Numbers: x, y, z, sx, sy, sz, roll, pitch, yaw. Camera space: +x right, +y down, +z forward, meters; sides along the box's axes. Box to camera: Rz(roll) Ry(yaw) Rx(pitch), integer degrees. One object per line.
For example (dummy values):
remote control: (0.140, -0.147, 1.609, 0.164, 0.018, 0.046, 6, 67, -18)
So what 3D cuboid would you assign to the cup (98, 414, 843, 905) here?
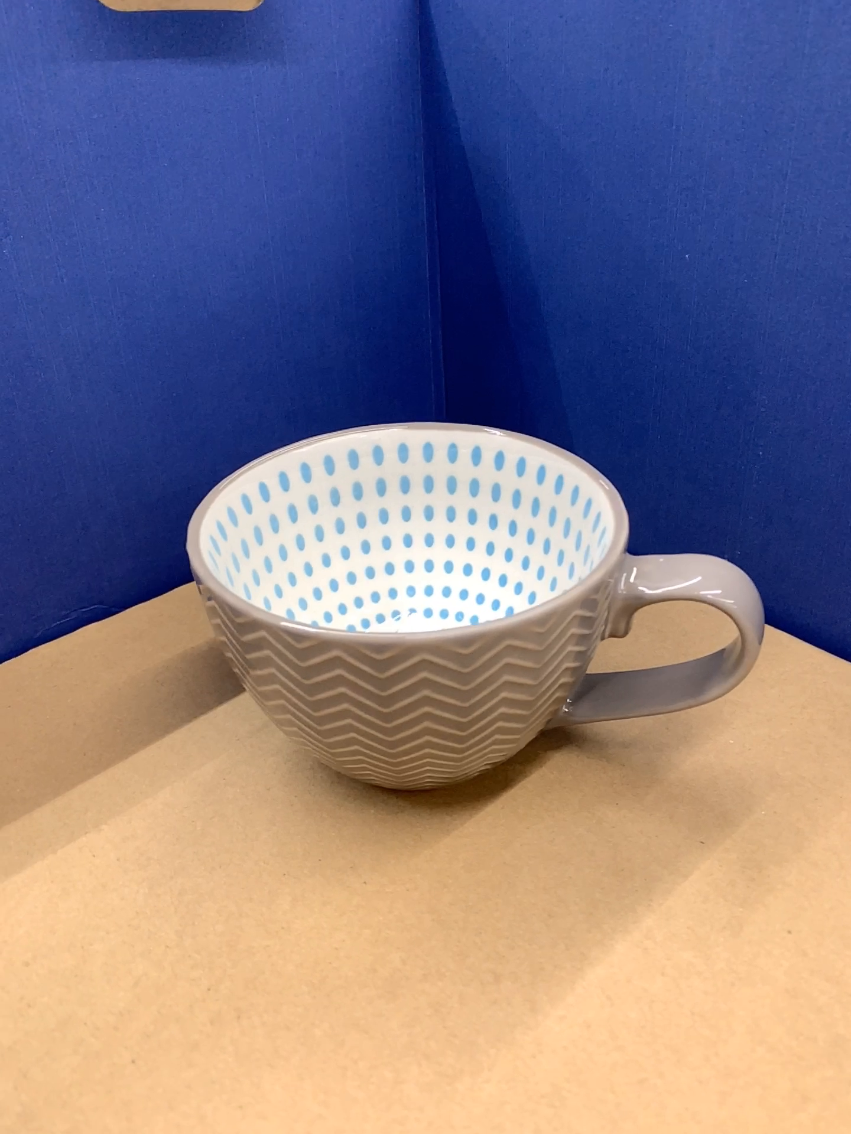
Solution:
cup: (0.015, 0.011, 0.233, 0.143, 0.061, 0.119, 3, 30, 10)
